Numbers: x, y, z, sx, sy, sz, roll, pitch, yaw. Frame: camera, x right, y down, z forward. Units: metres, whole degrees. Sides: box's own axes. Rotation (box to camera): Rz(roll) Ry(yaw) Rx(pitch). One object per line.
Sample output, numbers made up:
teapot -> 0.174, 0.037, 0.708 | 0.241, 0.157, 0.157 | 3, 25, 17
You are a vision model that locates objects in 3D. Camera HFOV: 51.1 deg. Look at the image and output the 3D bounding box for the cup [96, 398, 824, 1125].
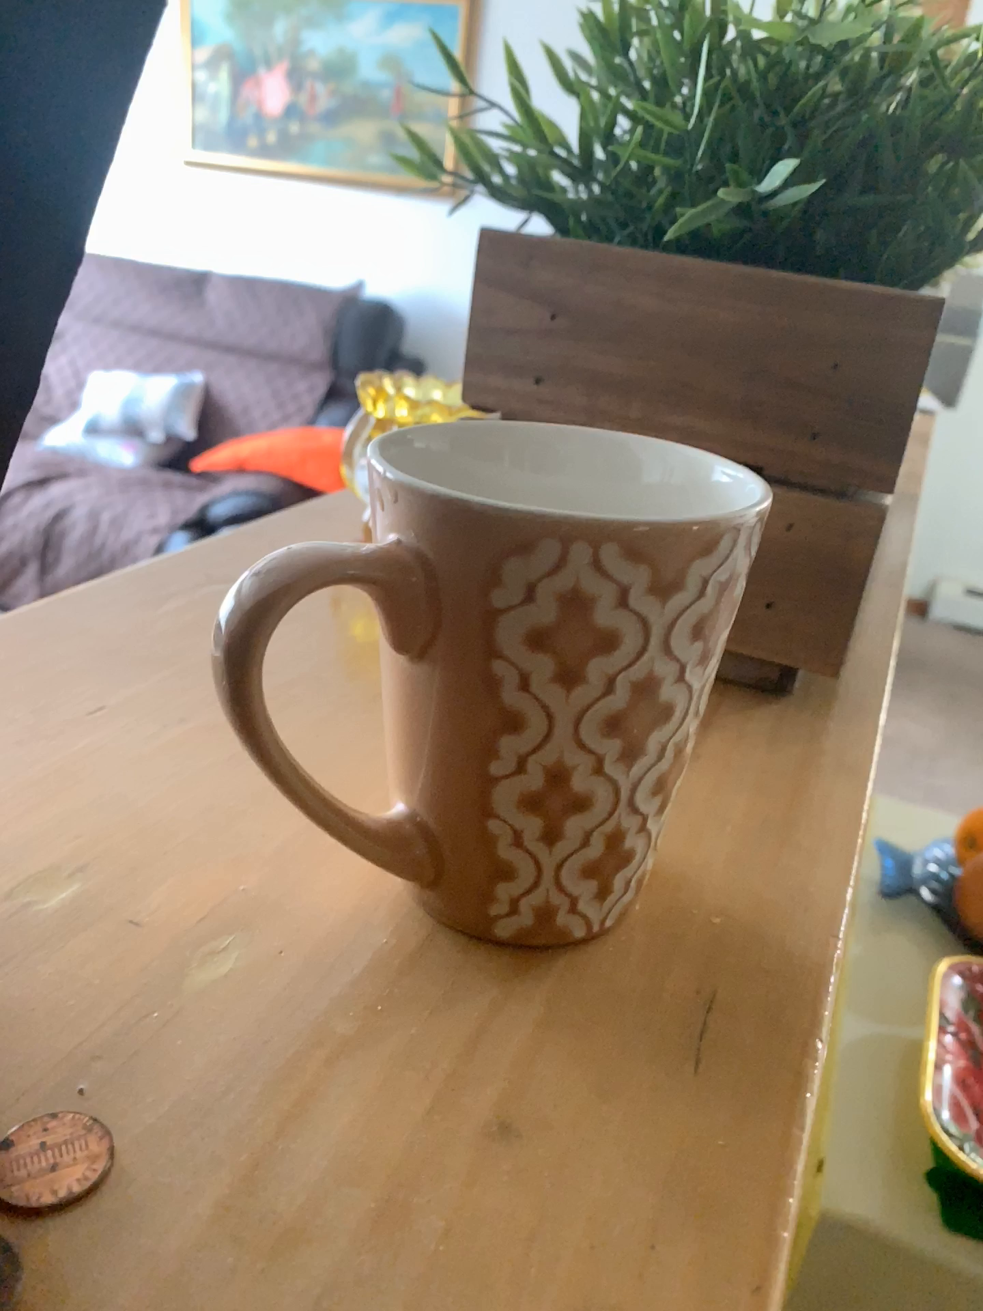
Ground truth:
cup -> -0.011, 0.008, 0.232 | 0.120, 0.109, 0.090 | -12, 30, -37
